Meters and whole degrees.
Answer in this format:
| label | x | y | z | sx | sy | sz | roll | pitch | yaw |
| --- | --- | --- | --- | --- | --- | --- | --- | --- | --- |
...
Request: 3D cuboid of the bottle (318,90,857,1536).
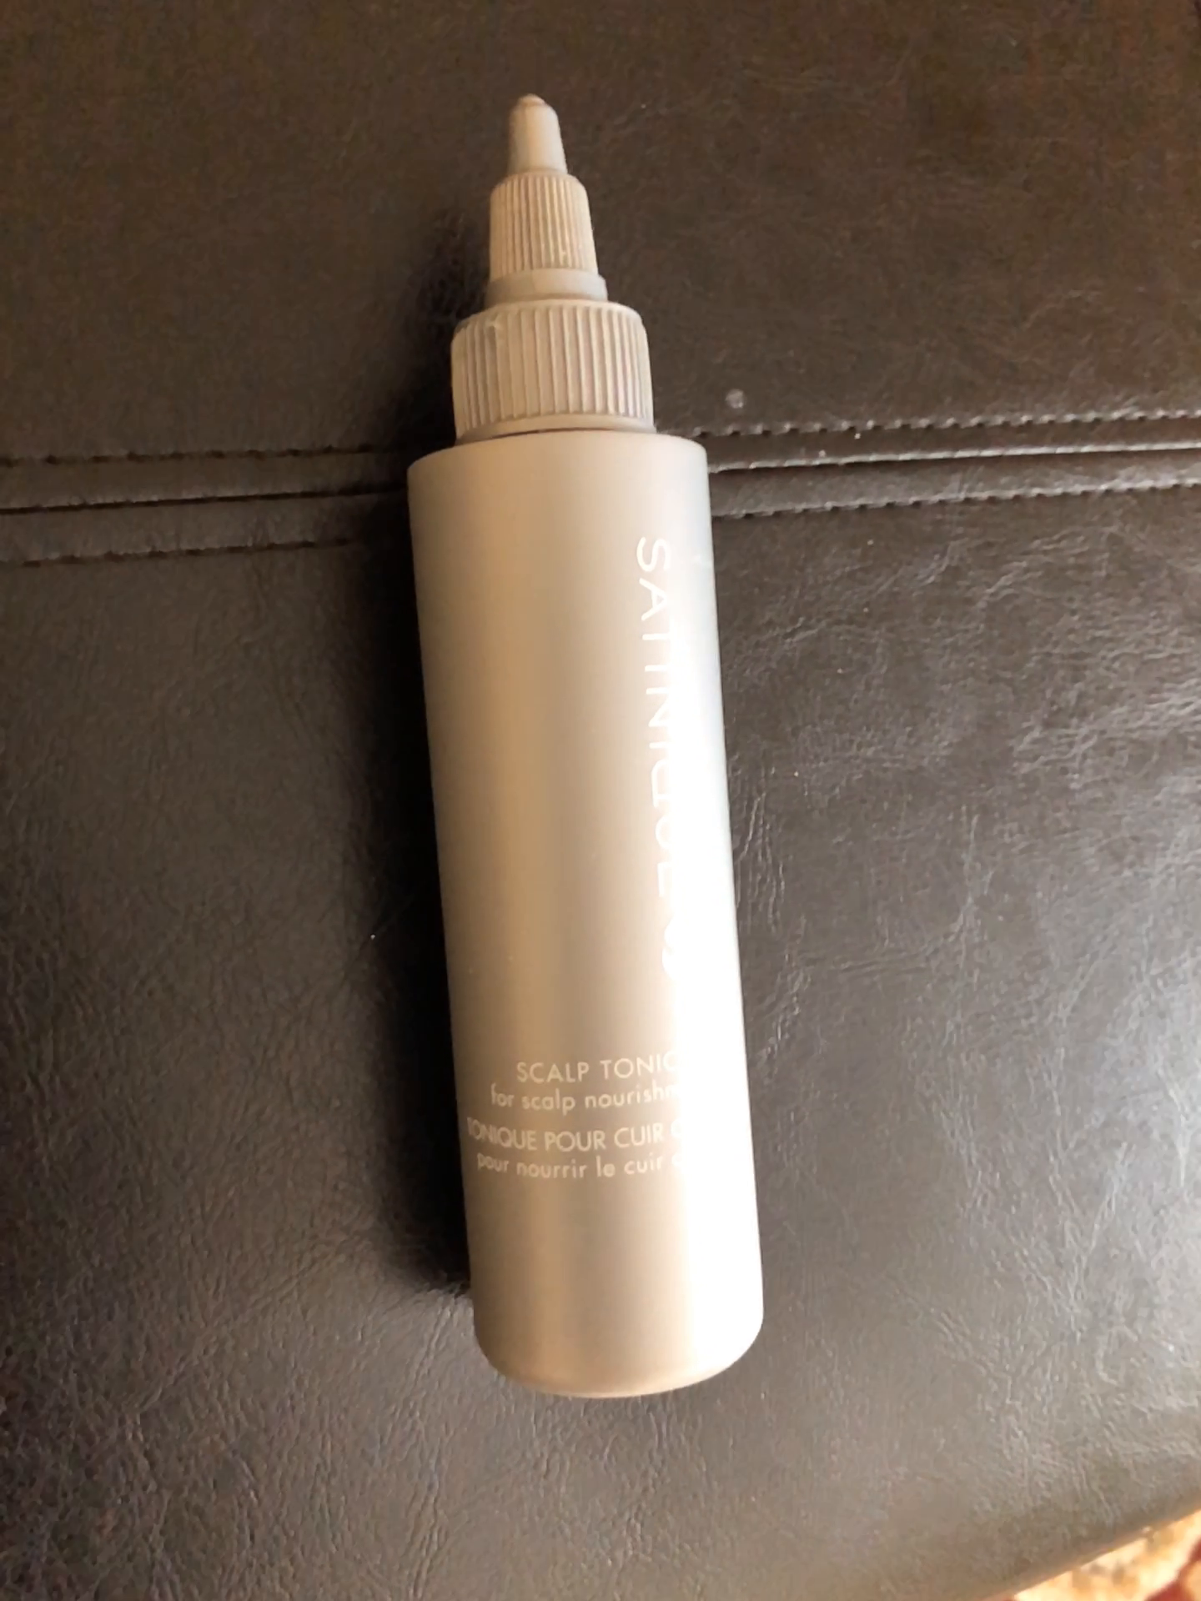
| label | x | y | z | sx | sy | sz | roll | pitch | yaw |
| --- | --- | --- | --- | --- | --- | --- | --- | --- | --- |
| bottle | -0.003 | 0.001 | 0.157 | 0.040 | 0.040 | 0.140 | -6 | 94 | -22 |
